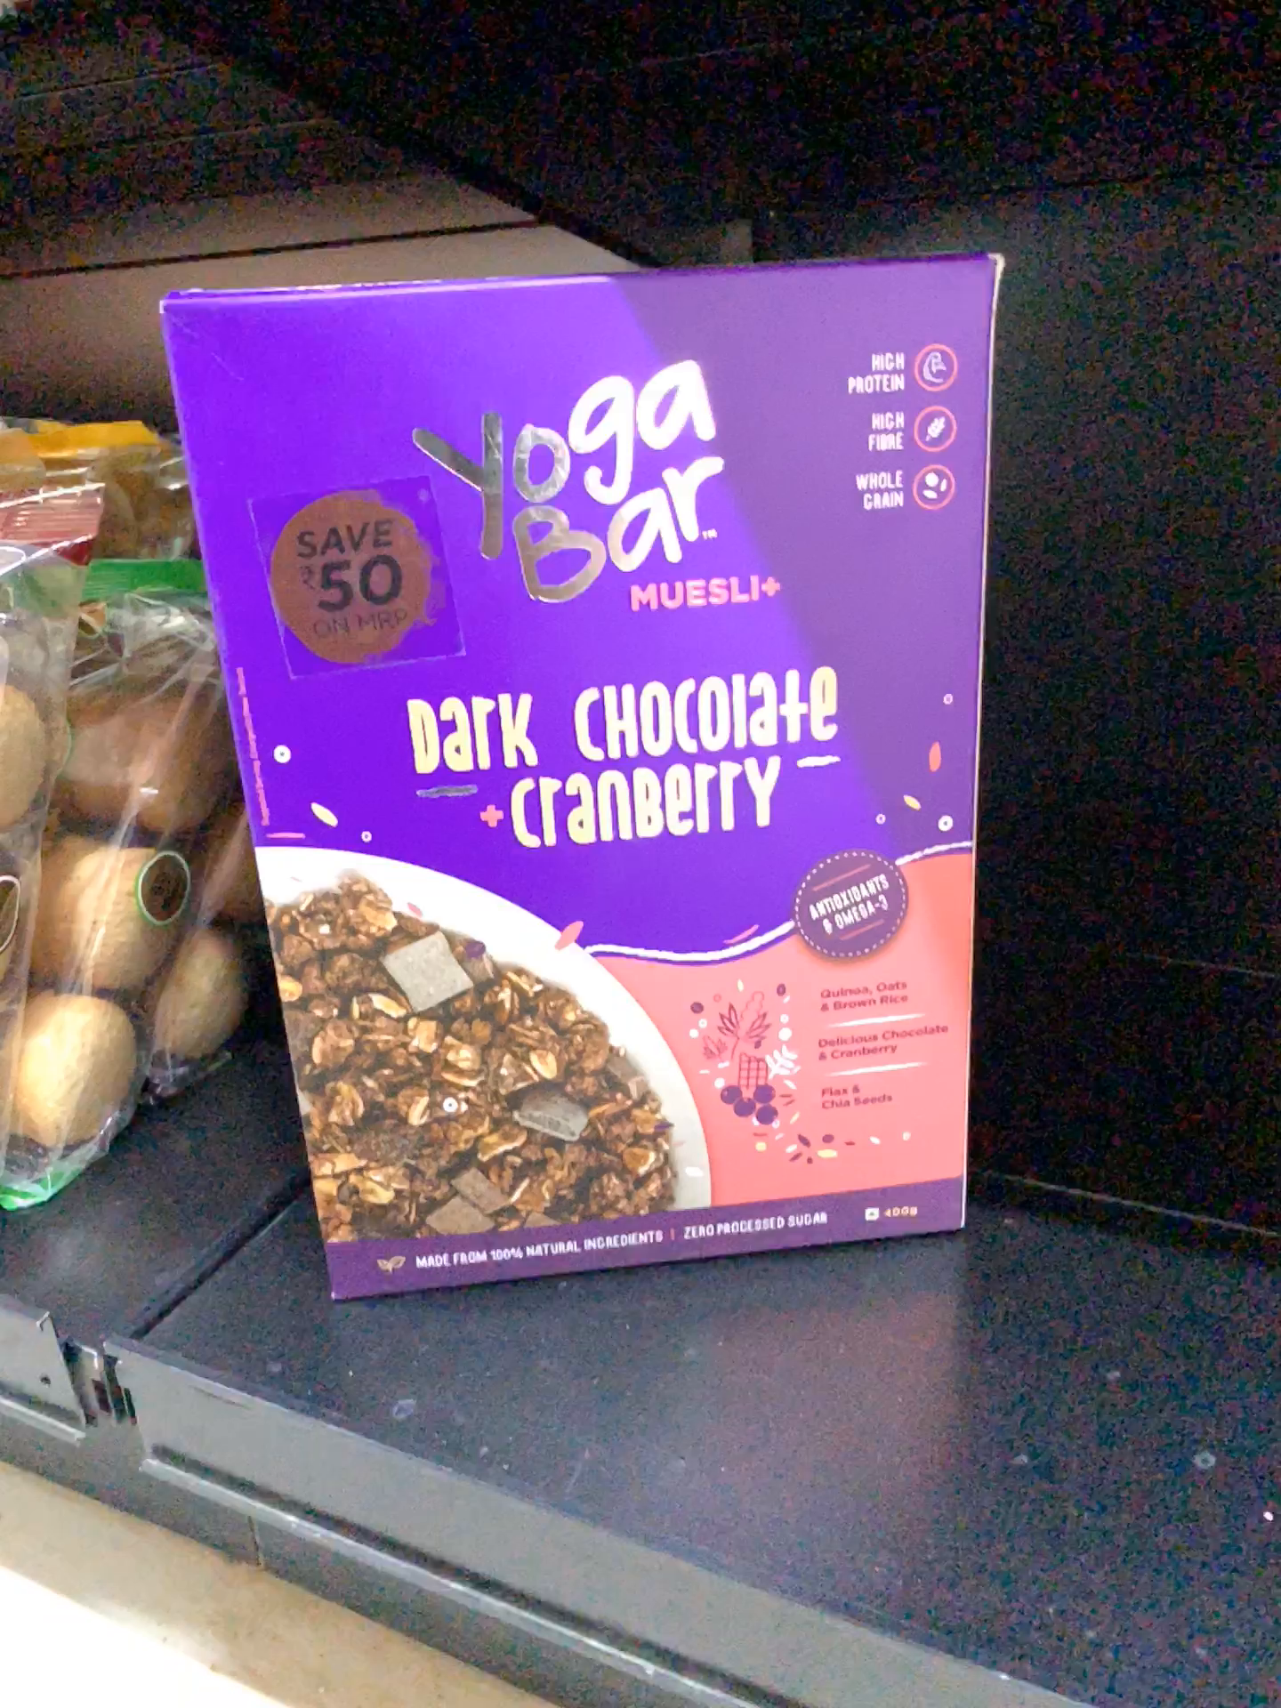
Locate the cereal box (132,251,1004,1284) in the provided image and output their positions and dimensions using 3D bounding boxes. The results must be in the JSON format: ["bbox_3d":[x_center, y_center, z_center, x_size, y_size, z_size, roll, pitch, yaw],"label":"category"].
[{"bbox_3d":[-0.010,-0.015,0.320,0.170,0.229,0.050,-4,20,-4],"label":"cereal box"}]
